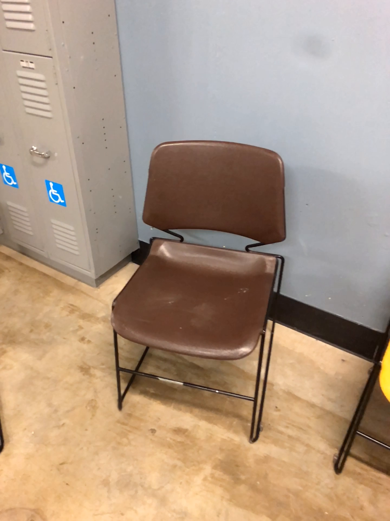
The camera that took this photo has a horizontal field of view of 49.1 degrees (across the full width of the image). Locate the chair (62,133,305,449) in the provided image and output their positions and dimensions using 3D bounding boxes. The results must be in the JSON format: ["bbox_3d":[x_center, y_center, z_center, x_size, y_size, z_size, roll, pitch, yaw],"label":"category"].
[{"bbox_3d":[0.017,0.076,1.356,0.516,0.751,0.548,9,36,12],"label":"chair"}]
